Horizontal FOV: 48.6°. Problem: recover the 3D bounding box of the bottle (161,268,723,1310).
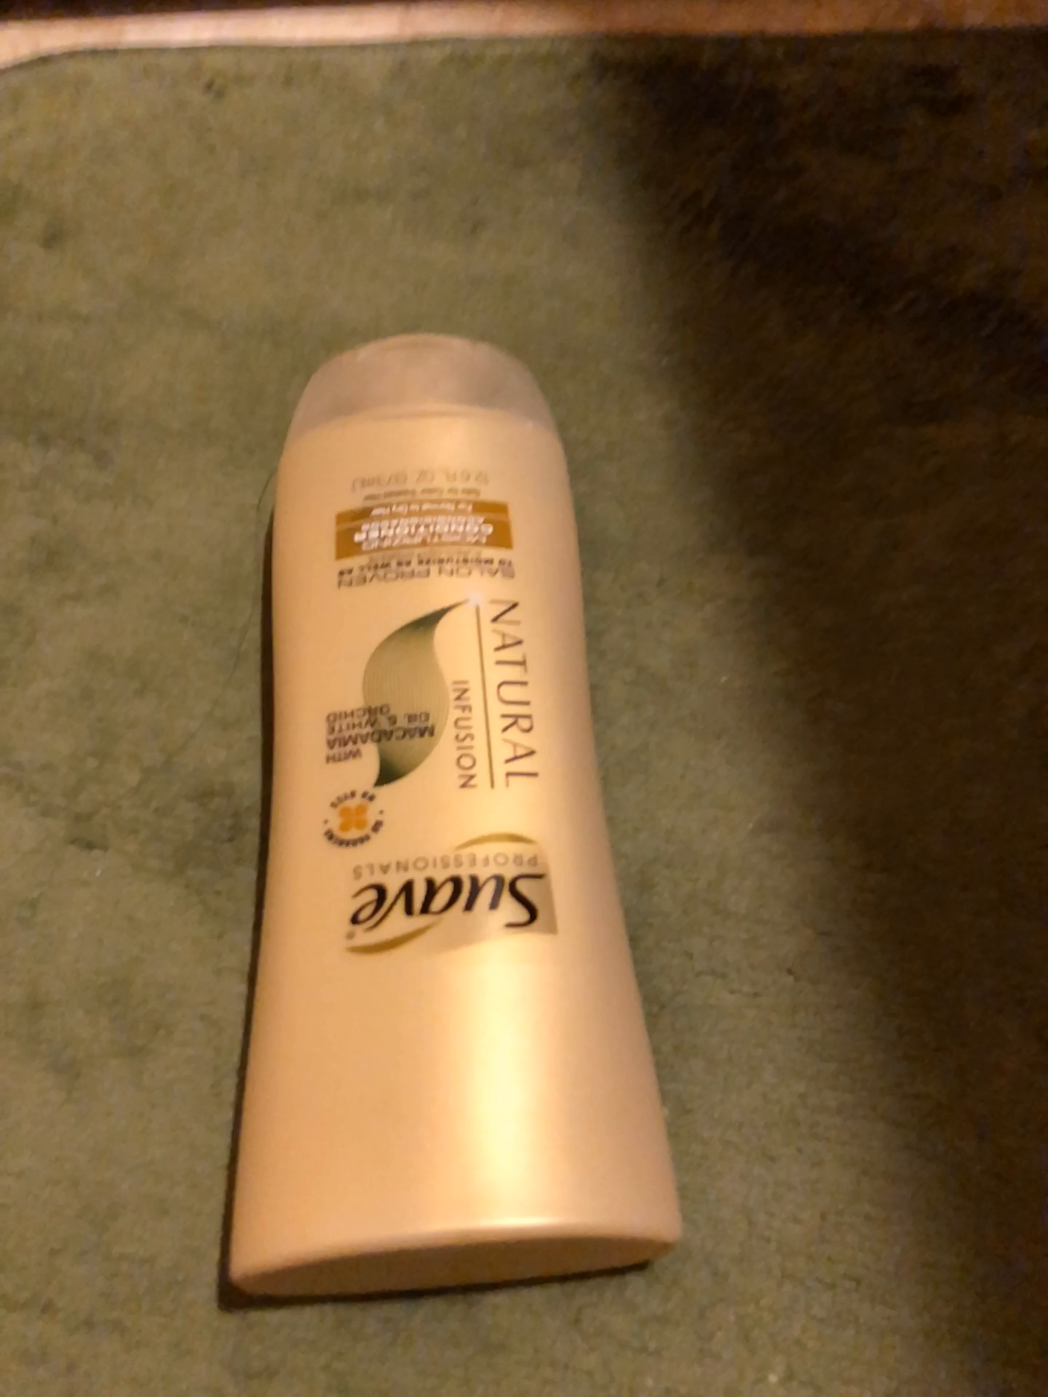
[{"bbox_3d":[-0.020,0.000,0.247,0.080,0.050,0.220,-4,56,-3],"label":"bottle"}]
